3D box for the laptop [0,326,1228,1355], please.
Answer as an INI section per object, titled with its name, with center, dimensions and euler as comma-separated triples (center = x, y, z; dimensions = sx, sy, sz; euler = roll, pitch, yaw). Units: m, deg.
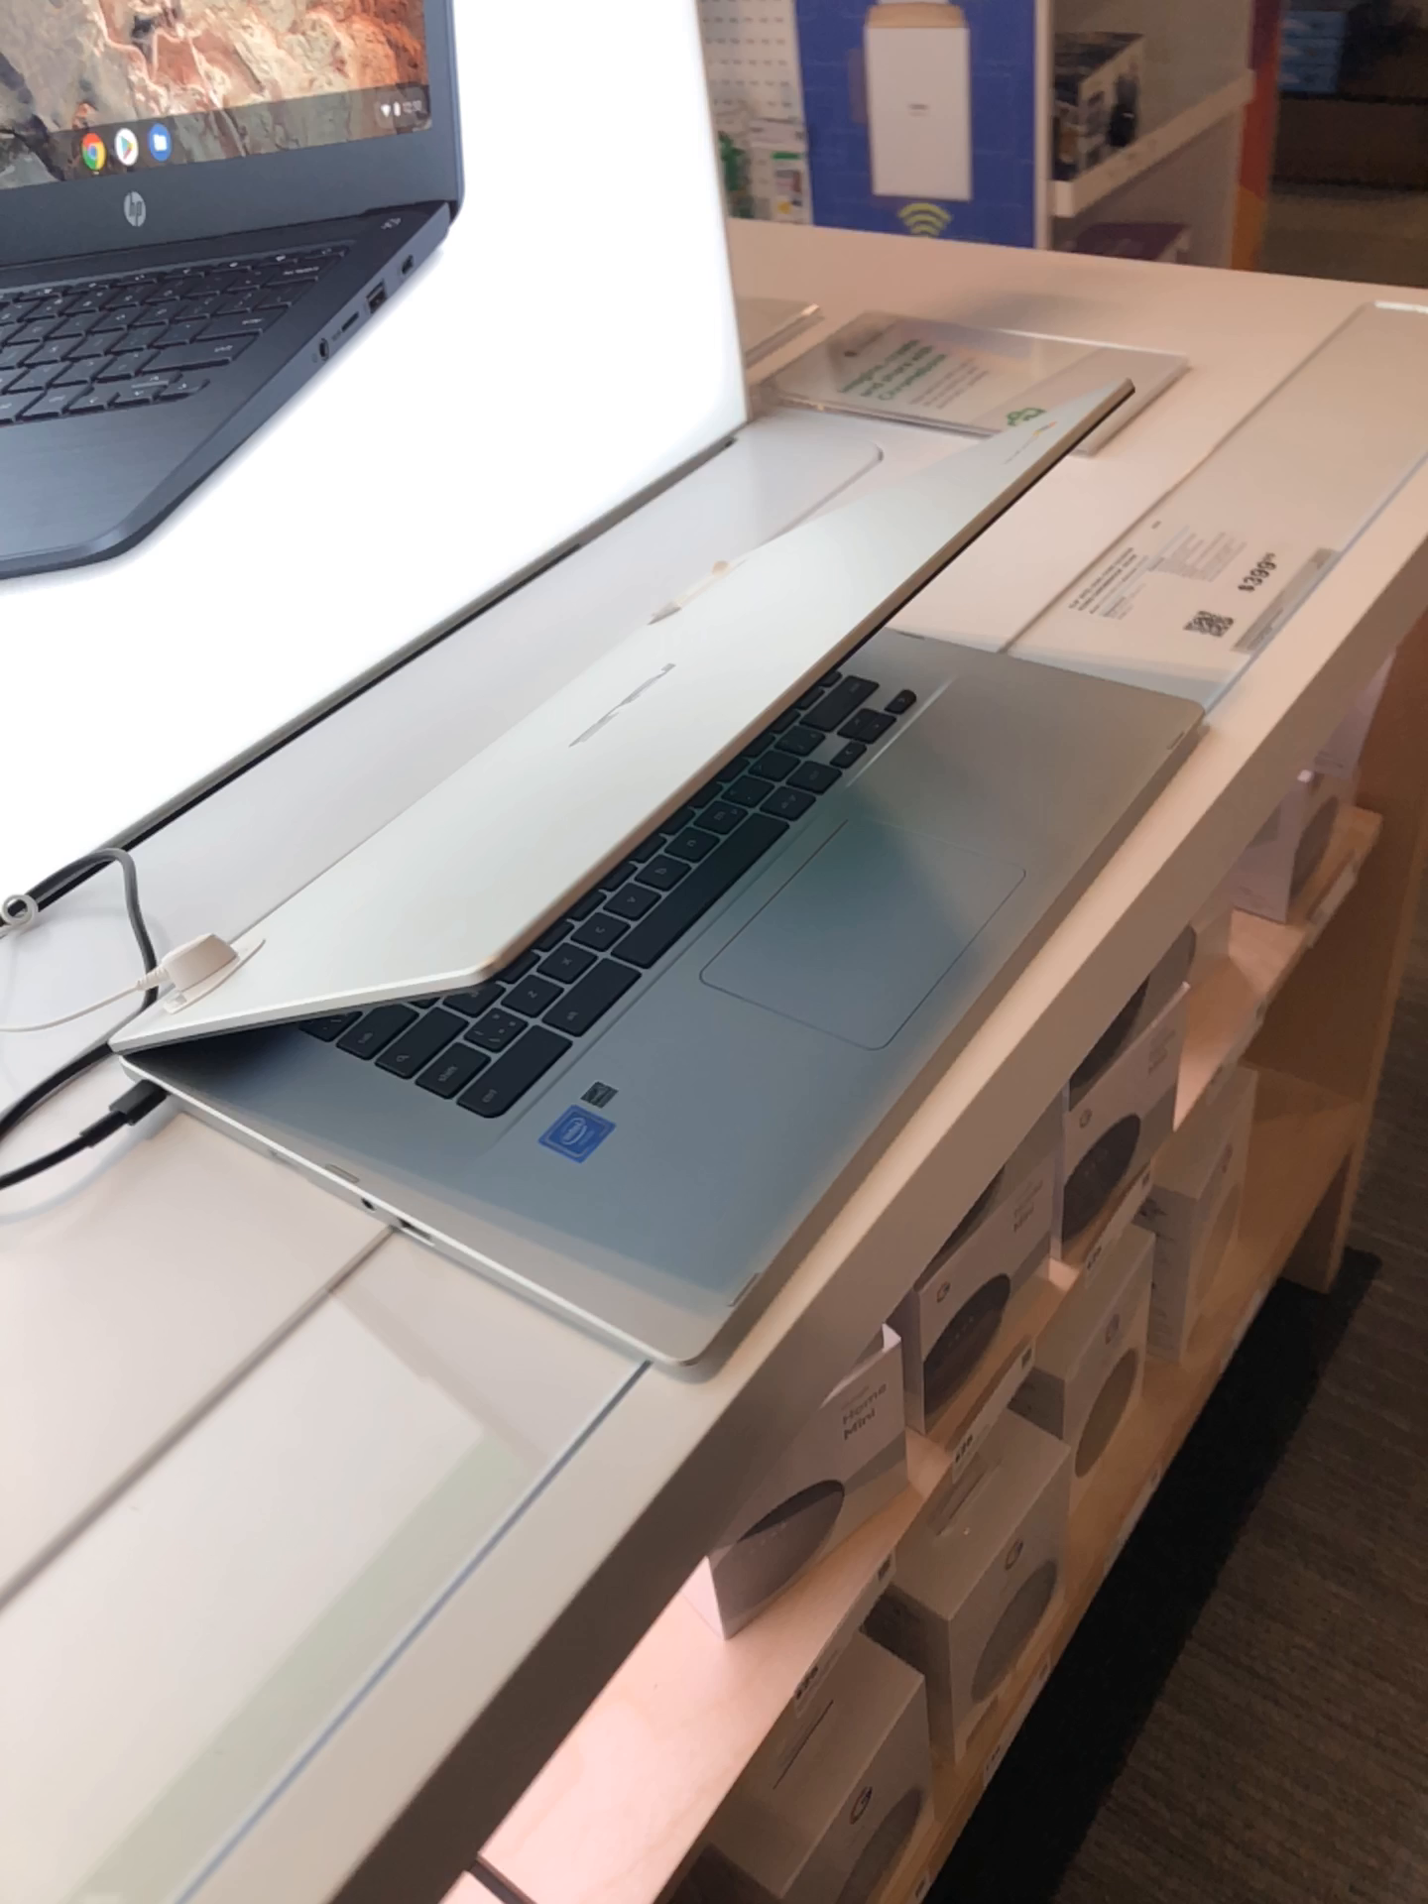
[laptop]
center = -0.011, -0.073, 0.531
dimensions = 0.222, 0.113, 0.342
euler = 23, 51, 30
